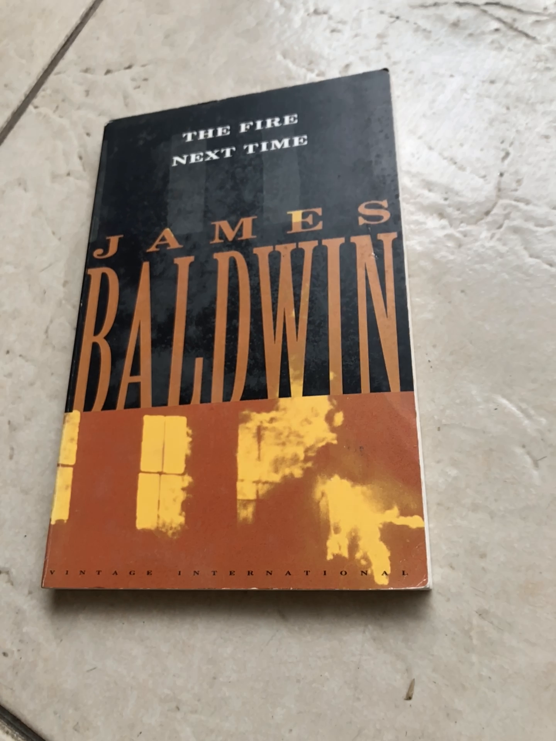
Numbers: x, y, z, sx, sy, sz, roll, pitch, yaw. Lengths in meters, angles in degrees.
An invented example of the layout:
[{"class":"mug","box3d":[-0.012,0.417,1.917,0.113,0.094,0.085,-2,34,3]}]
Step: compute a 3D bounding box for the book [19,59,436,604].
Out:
[{"class":"book","box3d":[-0.017,-0.022,0.230,0.130,0.016,0.201,-4,68,13]}]
